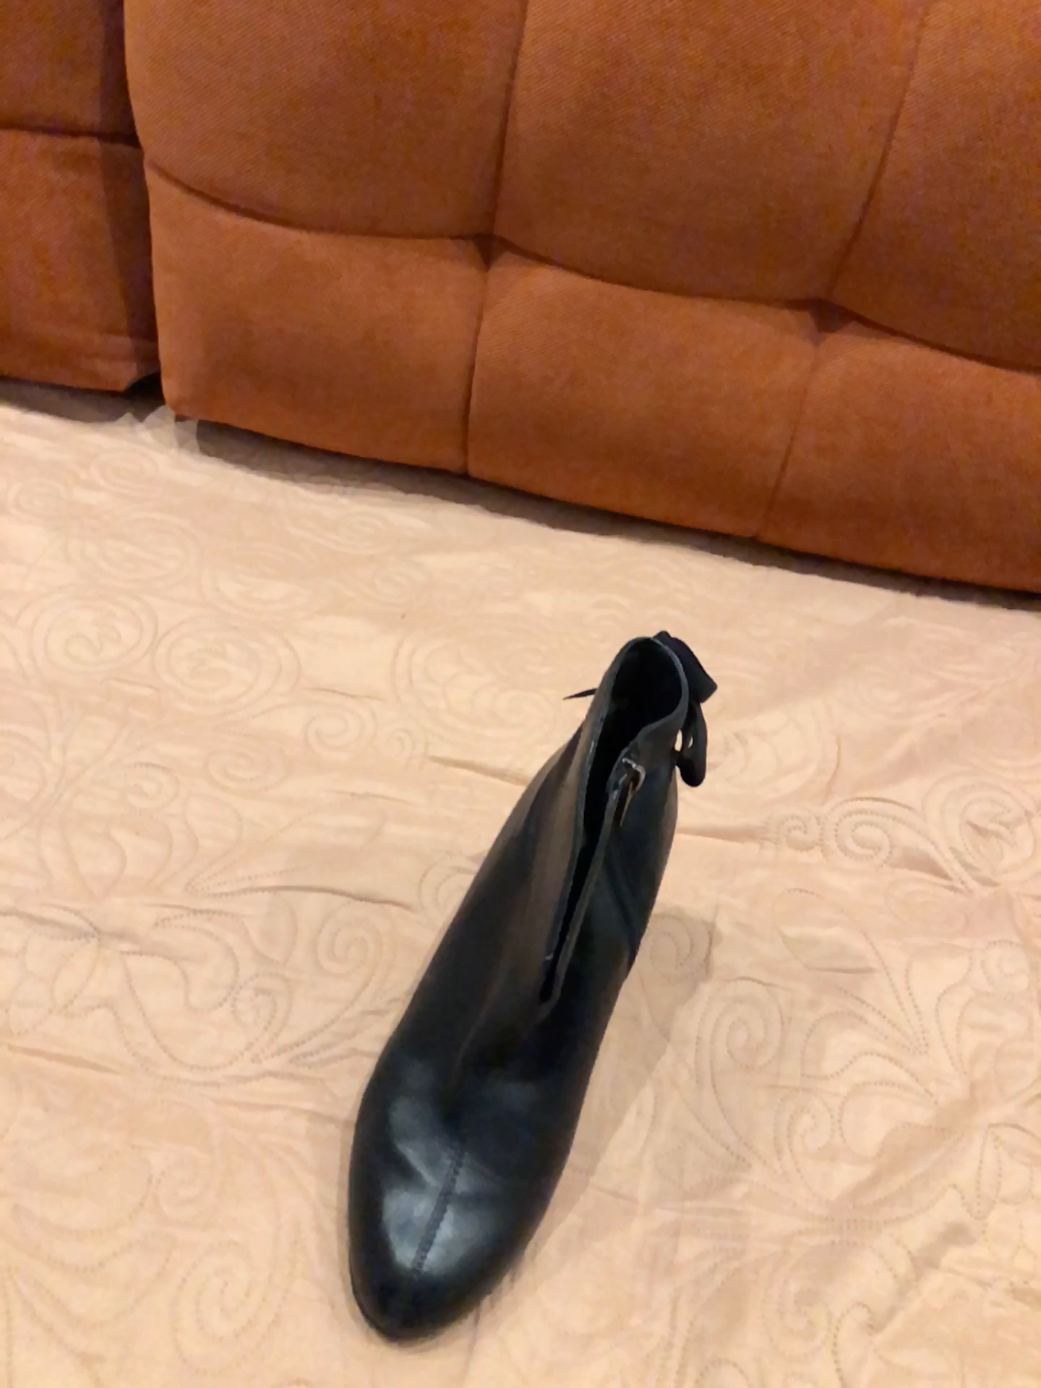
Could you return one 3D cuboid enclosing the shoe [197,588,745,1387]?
[{"bbox_3d":[-0.011,0.105,0.419,0.095,0.169,0.221,20,47,8],"label":"shoe"}]
